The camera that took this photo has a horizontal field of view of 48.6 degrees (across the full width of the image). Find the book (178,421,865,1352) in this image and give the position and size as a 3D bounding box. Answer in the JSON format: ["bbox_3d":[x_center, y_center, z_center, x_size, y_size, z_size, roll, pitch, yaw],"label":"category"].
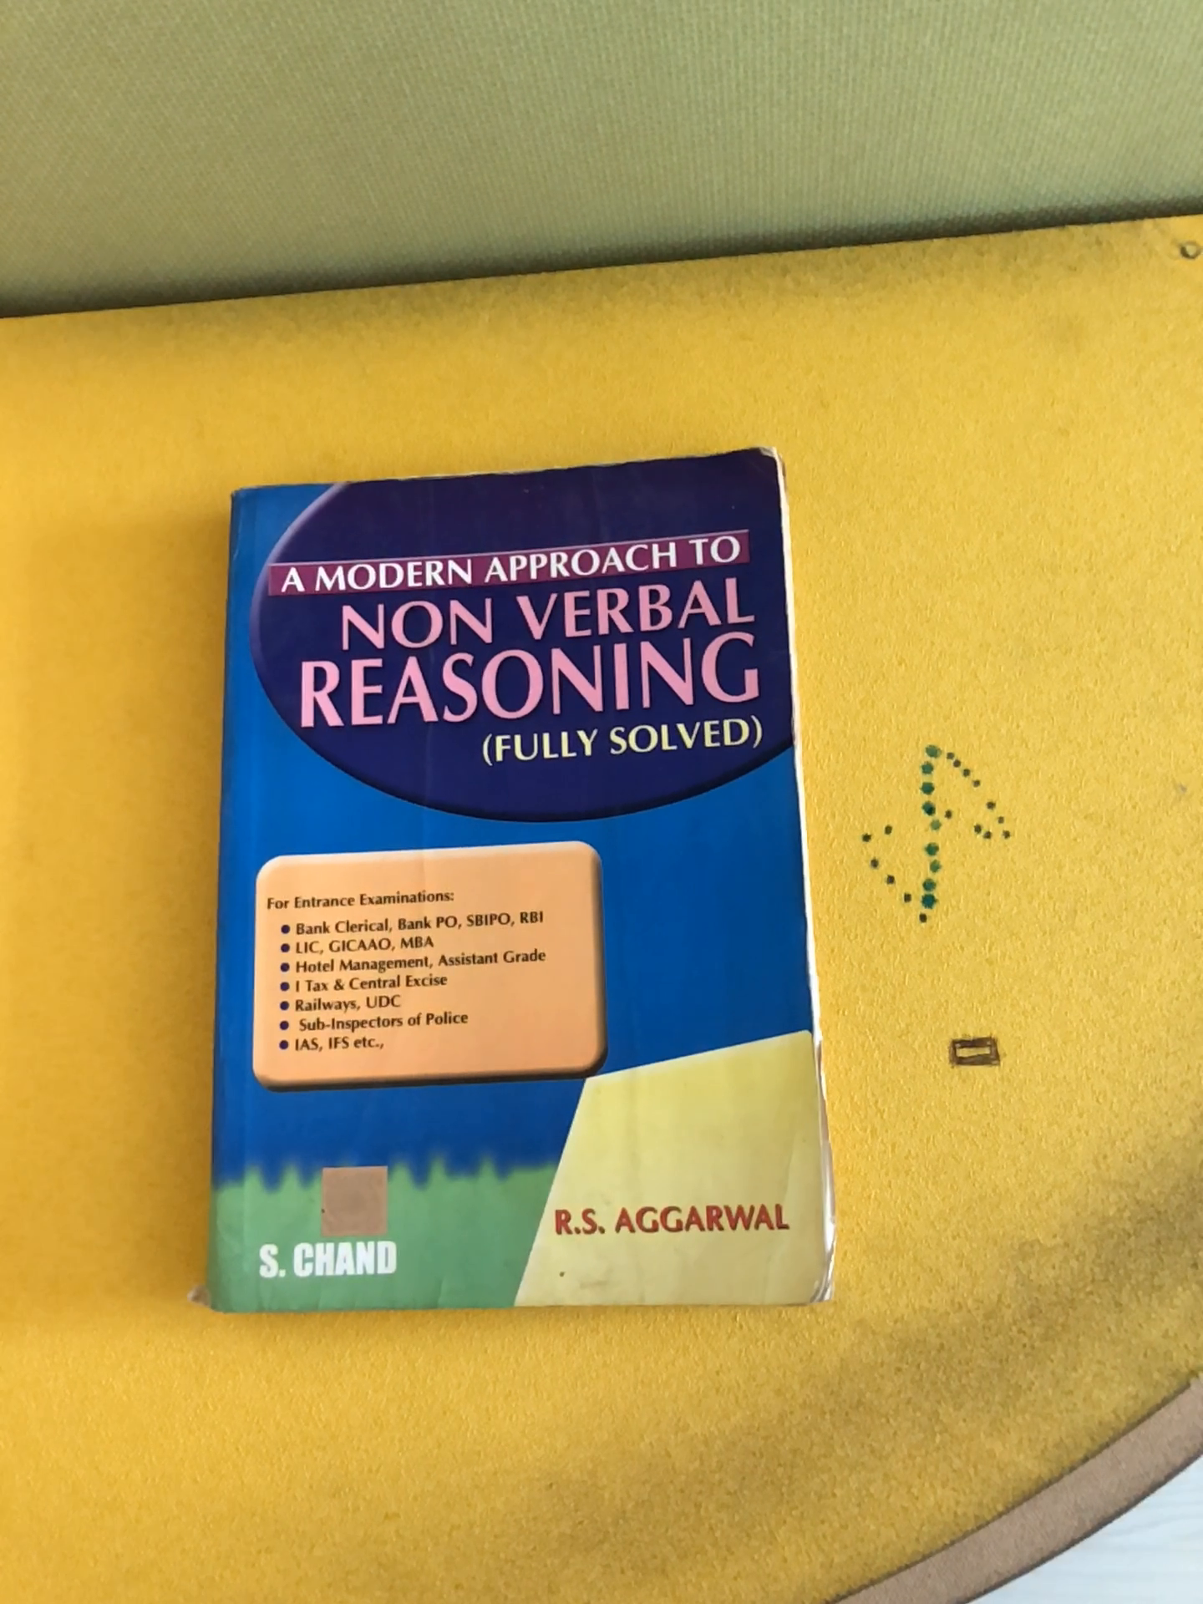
[{"bbox_3d":[-0.024,0.020,0.372,0.170,0.040,0.240,-3,78,5],"label":"book"}]
